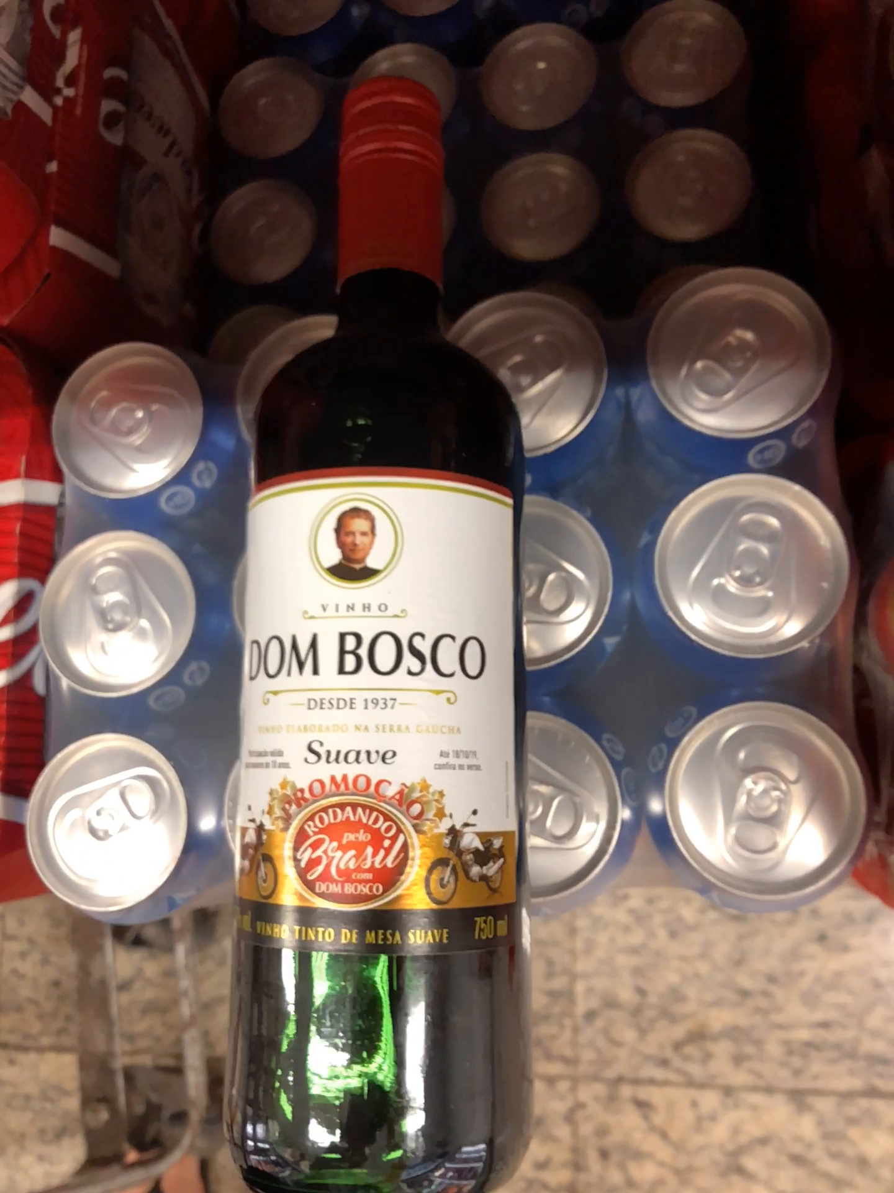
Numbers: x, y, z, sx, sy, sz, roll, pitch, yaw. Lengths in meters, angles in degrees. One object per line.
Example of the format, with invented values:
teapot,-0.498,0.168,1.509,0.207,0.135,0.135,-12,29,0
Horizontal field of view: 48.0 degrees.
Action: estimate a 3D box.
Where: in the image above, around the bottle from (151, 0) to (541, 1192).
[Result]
bottle,-0.018,-0.010,0.271,0.080,0.070,0.300,-1,81,11
